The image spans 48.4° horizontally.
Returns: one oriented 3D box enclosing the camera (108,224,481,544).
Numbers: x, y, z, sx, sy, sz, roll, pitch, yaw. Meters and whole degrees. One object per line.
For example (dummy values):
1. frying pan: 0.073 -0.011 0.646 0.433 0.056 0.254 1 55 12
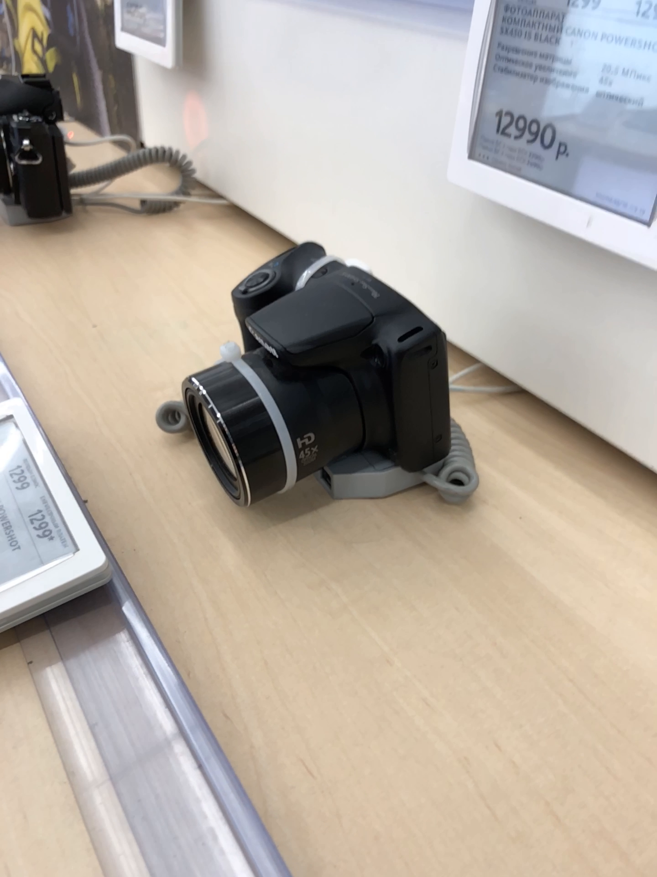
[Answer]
1. camera: -0.018 -0.032 0.295 0.093 0.062 0.117 -19 40 -31
